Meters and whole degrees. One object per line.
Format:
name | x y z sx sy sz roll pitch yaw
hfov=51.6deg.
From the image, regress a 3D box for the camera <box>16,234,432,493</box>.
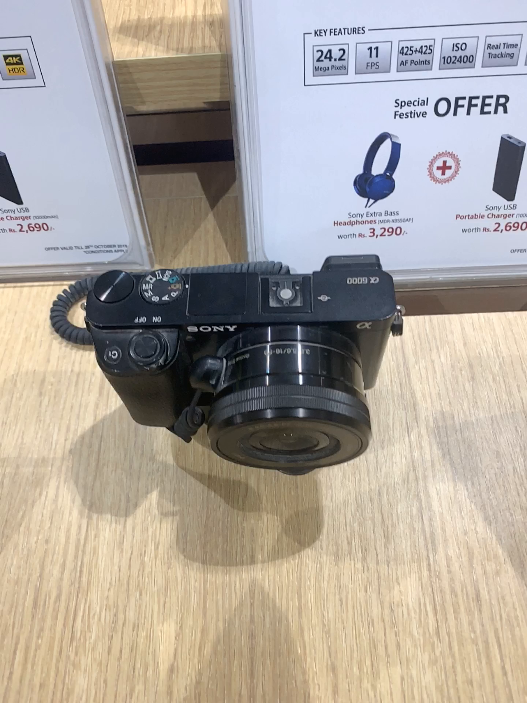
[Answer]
camera | -0.010 0.008 0.204 0.120 0.070 0.070 -1 59 3
